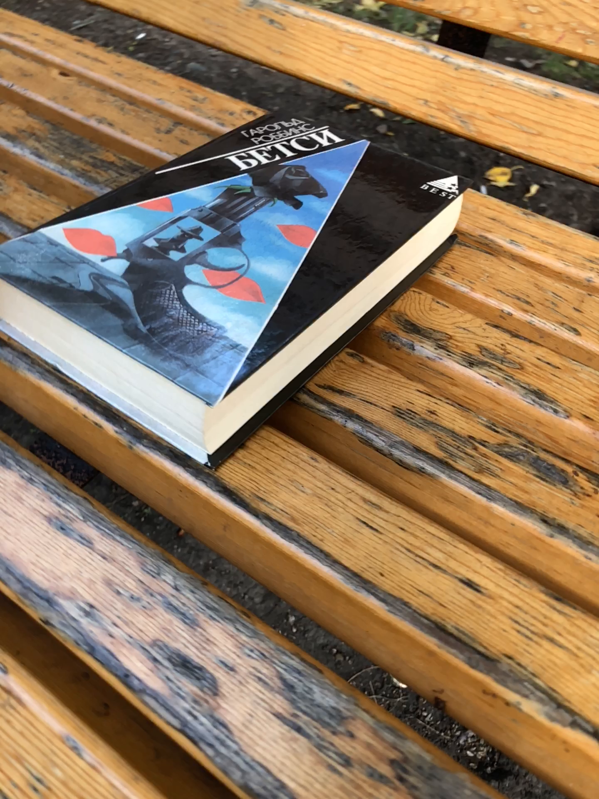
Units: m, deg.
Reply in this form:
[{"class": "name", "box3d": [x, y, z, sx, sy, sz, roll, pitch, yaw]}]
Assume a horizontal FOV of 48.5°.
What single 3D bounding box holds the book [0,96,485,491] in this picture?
[{"class": "book", "box3d": [-0.021, -0.071, 0.315, 0.130, 0.045, 0.211, 30, 51, 21]}]
